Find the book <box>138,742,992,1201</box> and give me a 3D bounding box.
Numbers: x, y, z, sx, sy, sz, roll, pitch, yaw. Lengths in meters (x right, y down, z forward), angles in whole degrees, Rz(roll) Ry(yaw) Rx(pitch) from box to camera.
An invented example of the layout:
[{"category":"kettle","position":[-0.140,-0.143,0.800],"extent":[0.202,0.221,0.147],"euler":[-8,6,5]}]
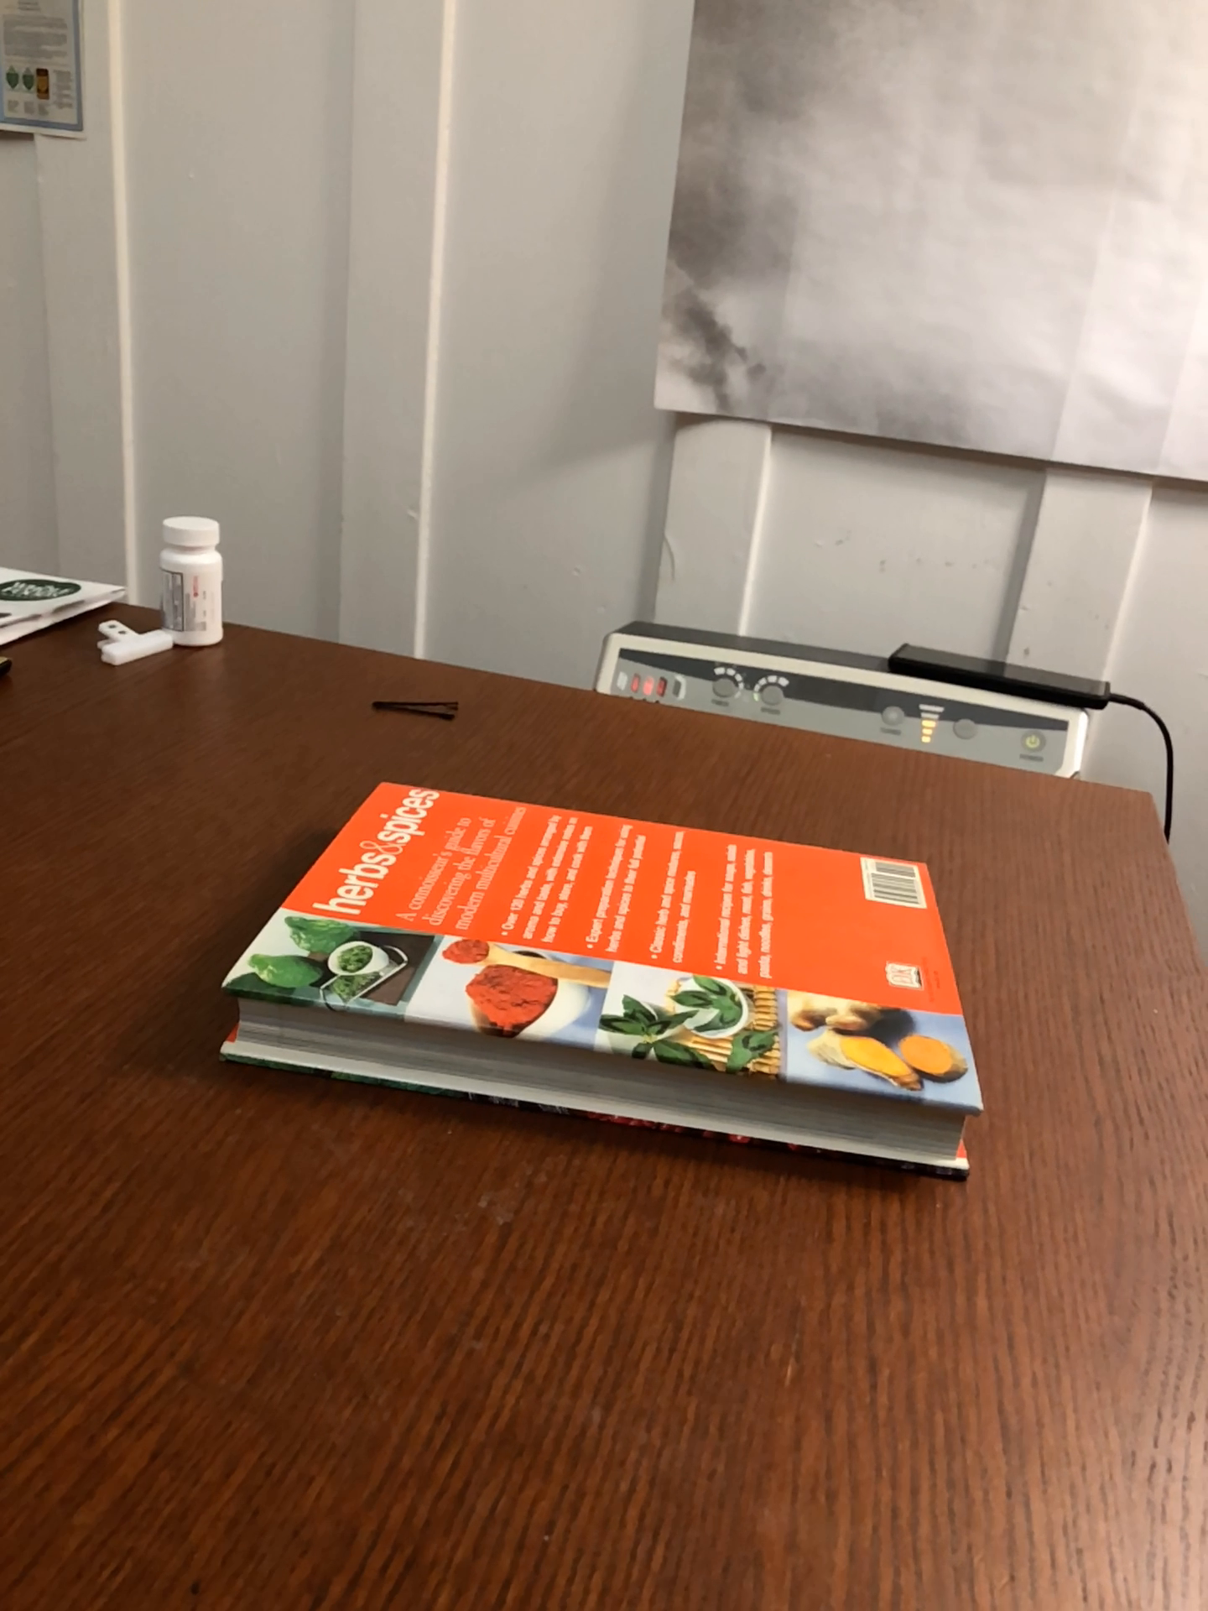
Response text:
[{"category":"book","position":[-0.005,0.047,0.519],"extent":[0.270,0.040,0.211],"euler":[8,22,4]}]
